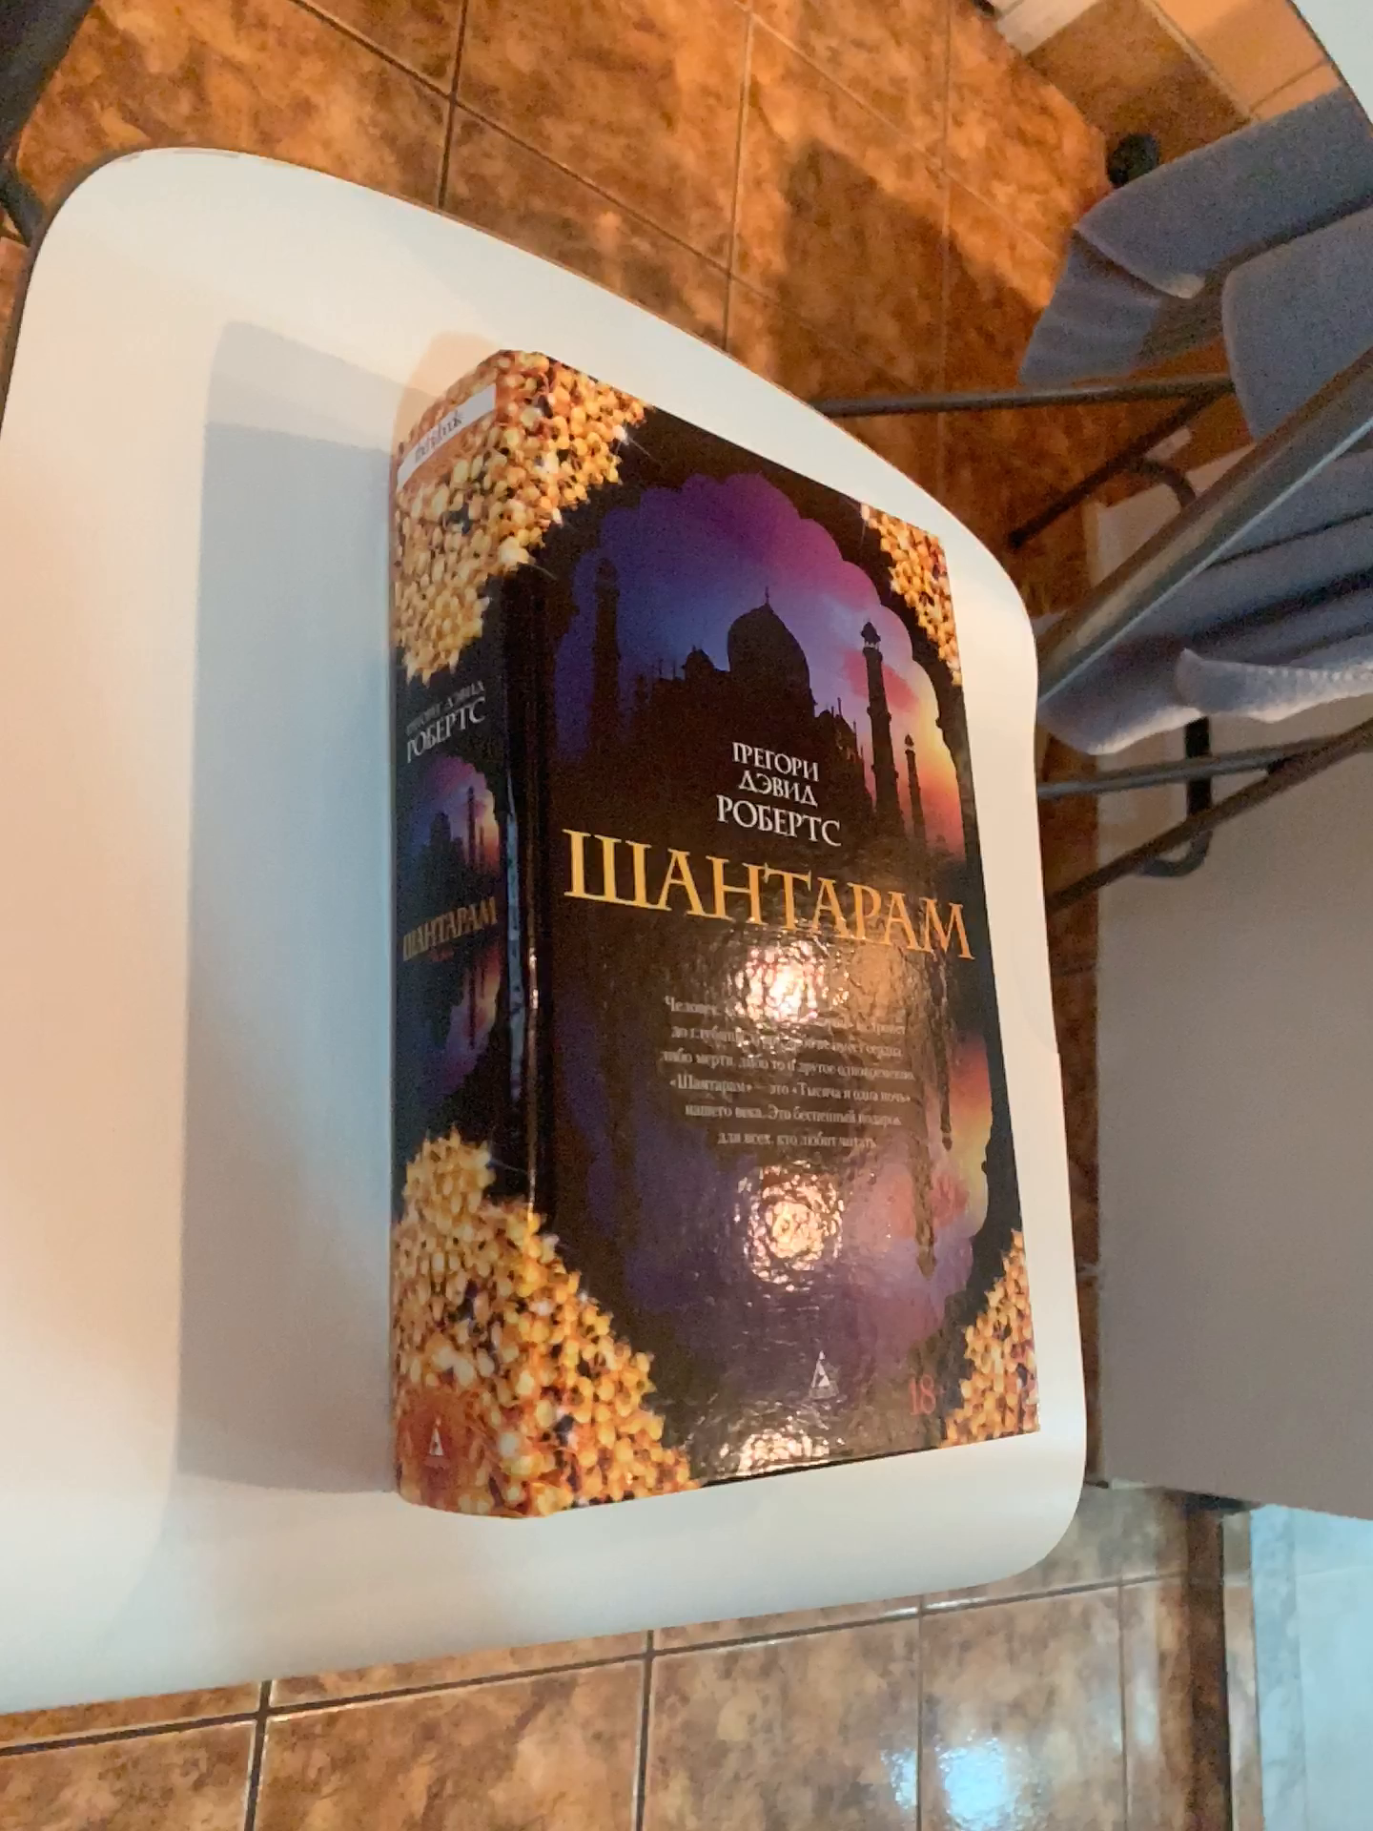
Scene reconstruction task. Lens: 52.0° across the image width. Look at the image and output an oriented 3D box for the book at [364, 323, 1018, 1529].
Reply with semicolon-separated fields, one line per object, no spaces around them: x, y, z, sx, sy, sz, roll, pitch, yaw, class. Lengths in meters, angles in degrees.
0.004;0.003;0.330;0.146;0.044;0.236;9;73;-38;book
